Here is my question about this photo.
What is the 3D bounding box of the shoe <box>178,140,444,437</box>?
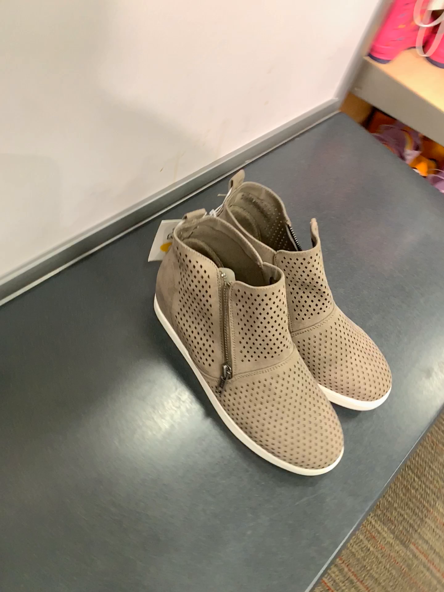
[{"bbox_3d":[0.092,-0.004,0.439,0.250,0.140,0.100,39,59,11],"label":"shoe"}]

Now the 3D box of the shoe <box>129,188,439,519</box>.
[{"bbox_3d":[0.032,0.053,0.411,0.100,0.140,0.250,-32,72,-27],"label":"shoe"}]
